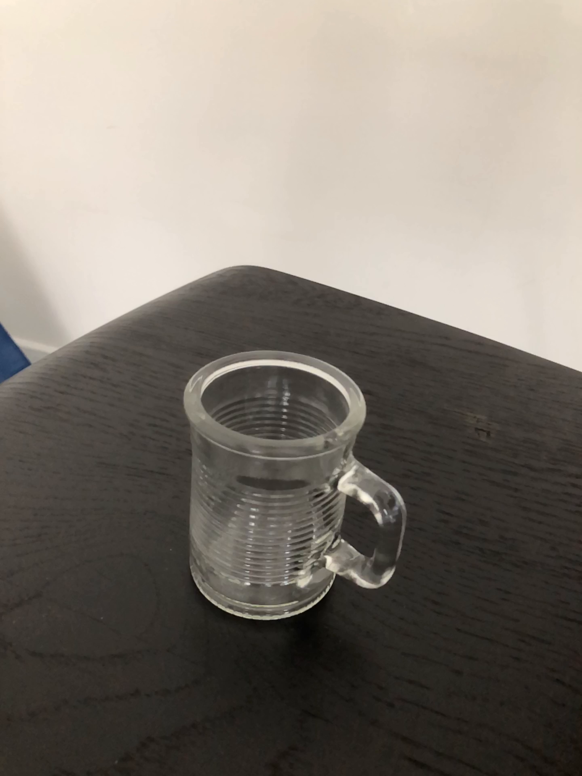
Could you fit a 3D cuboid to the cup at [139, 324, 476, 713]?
[{"bbox_3d":[0.002,0.038,0.224,0.060,0.080,0.090,-26,42,-36],"label":"cup"}]
